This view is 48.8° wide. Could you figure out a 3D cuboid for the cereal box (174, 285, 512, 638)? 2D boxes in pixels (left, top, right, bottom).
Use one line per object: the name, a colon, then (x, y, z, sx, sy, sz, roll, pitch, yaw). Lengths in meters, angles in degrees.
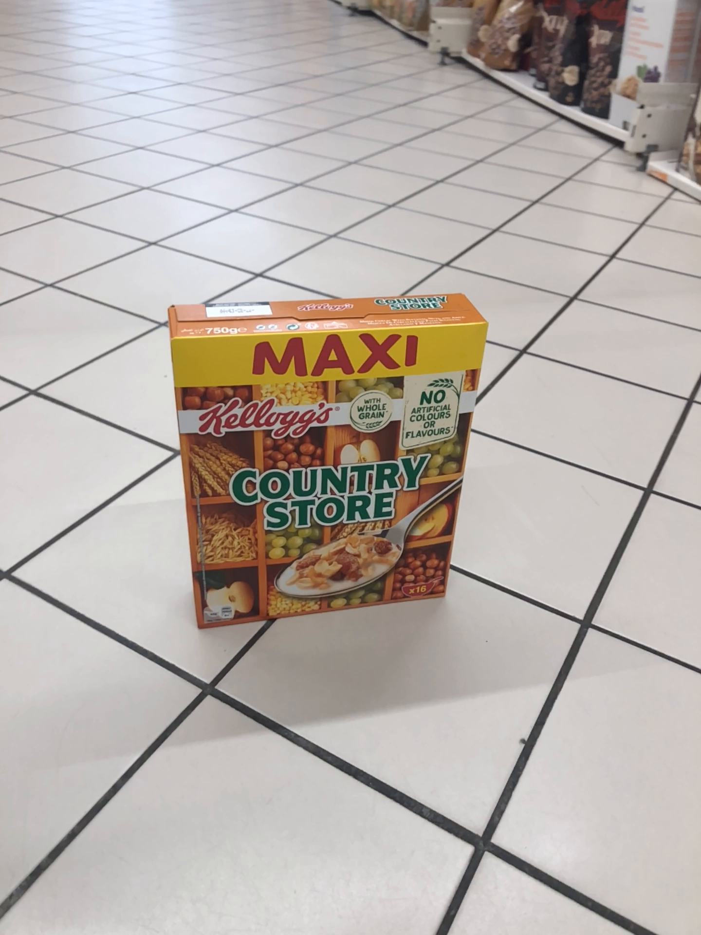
cereal box: (-0.011, 0.001, 0.543, 0.200, 0.238, 0.060, -5, 36, -12)
